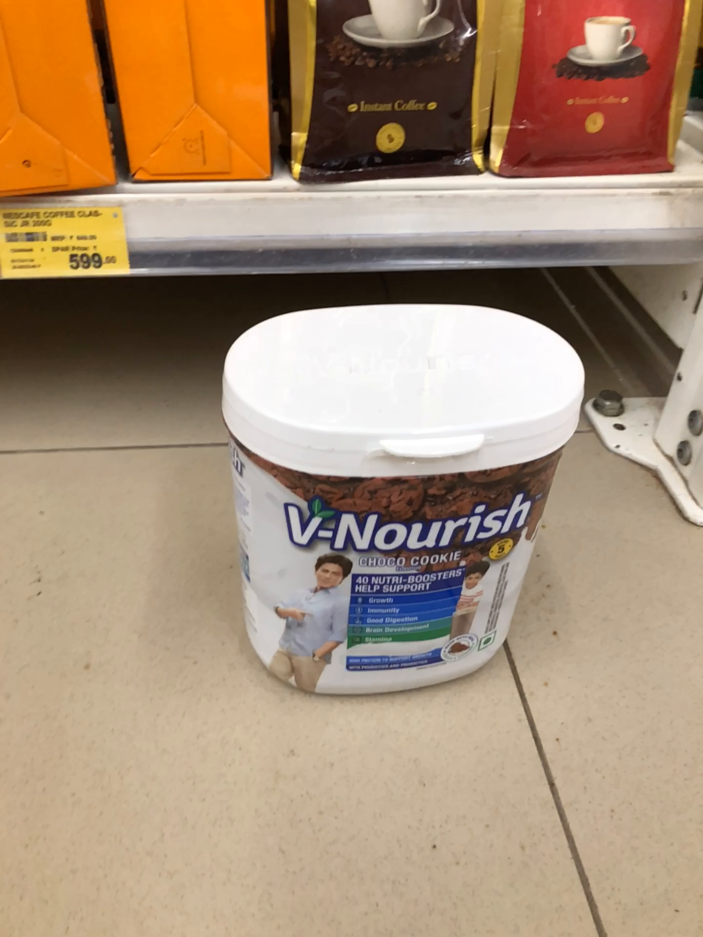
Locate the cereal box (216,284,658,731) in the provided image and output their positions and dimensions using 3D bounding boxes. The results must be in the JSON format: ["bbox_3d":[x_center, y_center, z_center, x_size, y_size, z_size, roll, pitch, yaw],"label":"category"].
[{"bbox_3d":[0.020,0.016,0.325,0.140,0.149,0.101,-3,39,-8],"label":"cereal box"}]
